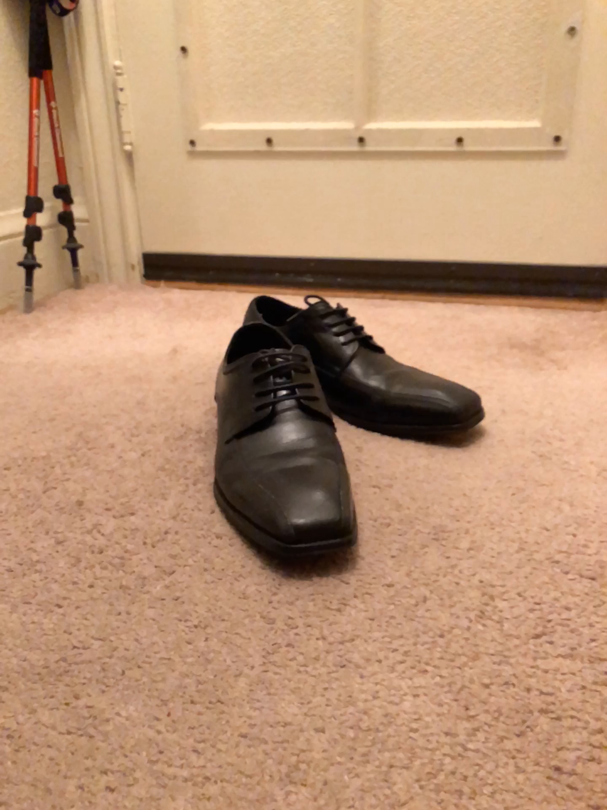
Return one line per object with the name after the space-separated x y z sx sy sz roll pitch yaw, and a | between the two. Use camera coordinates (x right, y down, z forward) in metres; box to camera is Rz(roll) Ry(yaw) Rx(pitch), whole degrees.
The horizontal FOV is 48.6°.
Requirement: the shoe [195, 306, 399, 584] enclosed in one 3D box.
-0.022 0.010 0.568 0.110 0.107 0.284 -6 24 -11 | shoe

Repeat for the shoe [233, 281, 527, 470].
0.069 -0.047 0.725 0.297 0.110 0.115 20 31 39 | shoe
